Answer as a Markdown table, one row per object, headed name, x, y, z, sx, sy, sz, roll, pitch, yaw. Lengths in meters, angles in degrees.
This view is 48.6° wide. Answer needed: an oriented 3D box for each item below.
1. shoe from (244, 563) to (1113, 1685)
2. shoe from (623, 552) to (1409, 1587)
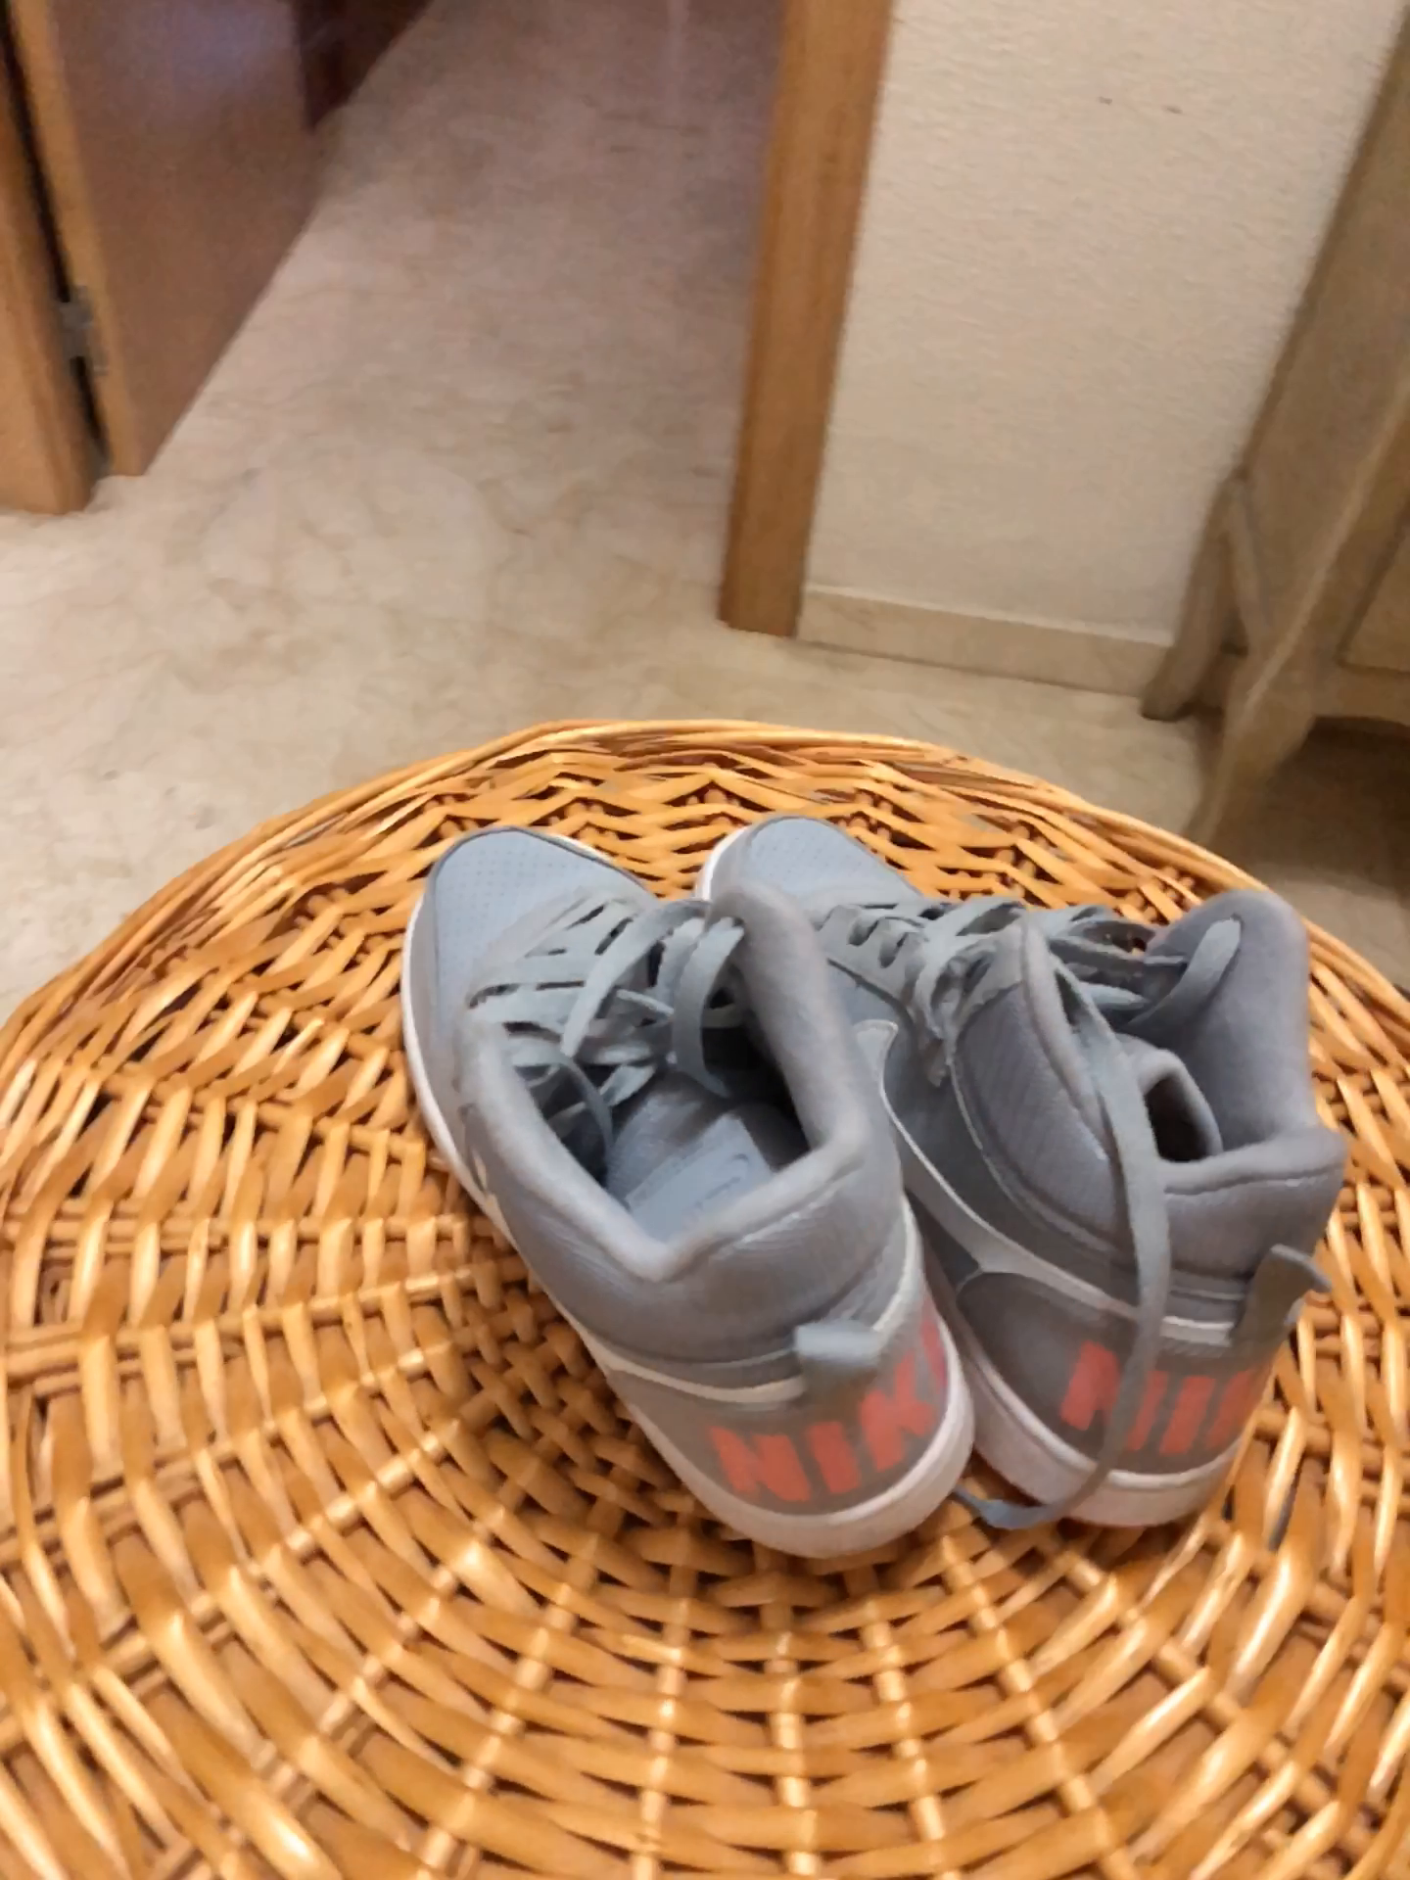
| name | x | y | z | sx | sy | sz | roll | pitch | yaw |
| --- | --- | --- | --- | --- | --- | --- | --- | --- | --- |
| shoe | -0.018 | 0.035 | 0.401 | 0.098 | 0.117 | 0.248 | -25 | 54 | -13 |
| shoe | 0.073 | 0.015 | 0.426 | 0.105 | 0.120 | 0.252 | -15 | 45 | -19 |
